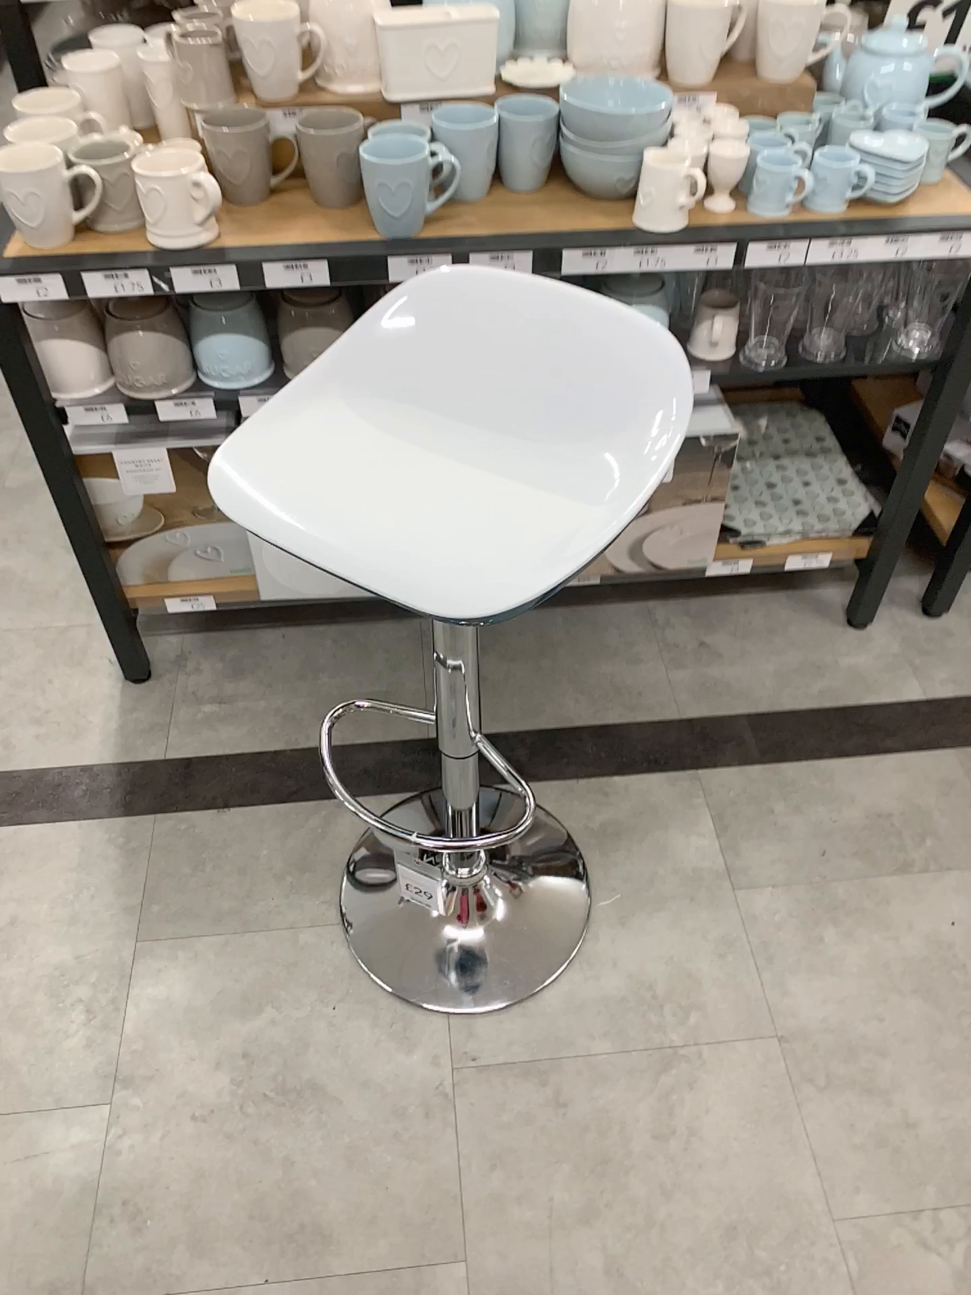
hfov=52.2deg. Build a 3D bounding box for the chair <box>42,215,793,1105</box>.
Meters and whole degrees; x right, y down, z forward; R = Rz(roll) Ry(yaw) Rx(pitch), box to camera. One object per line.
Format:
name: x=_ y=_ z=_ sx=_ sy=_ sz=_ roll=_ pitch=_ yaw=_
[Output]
chair: x=-0.040 y=0.058 z=1.117 sx=0.455 sy=0.826 sz=0.422 roll=26 pitch=53 yaw=23
